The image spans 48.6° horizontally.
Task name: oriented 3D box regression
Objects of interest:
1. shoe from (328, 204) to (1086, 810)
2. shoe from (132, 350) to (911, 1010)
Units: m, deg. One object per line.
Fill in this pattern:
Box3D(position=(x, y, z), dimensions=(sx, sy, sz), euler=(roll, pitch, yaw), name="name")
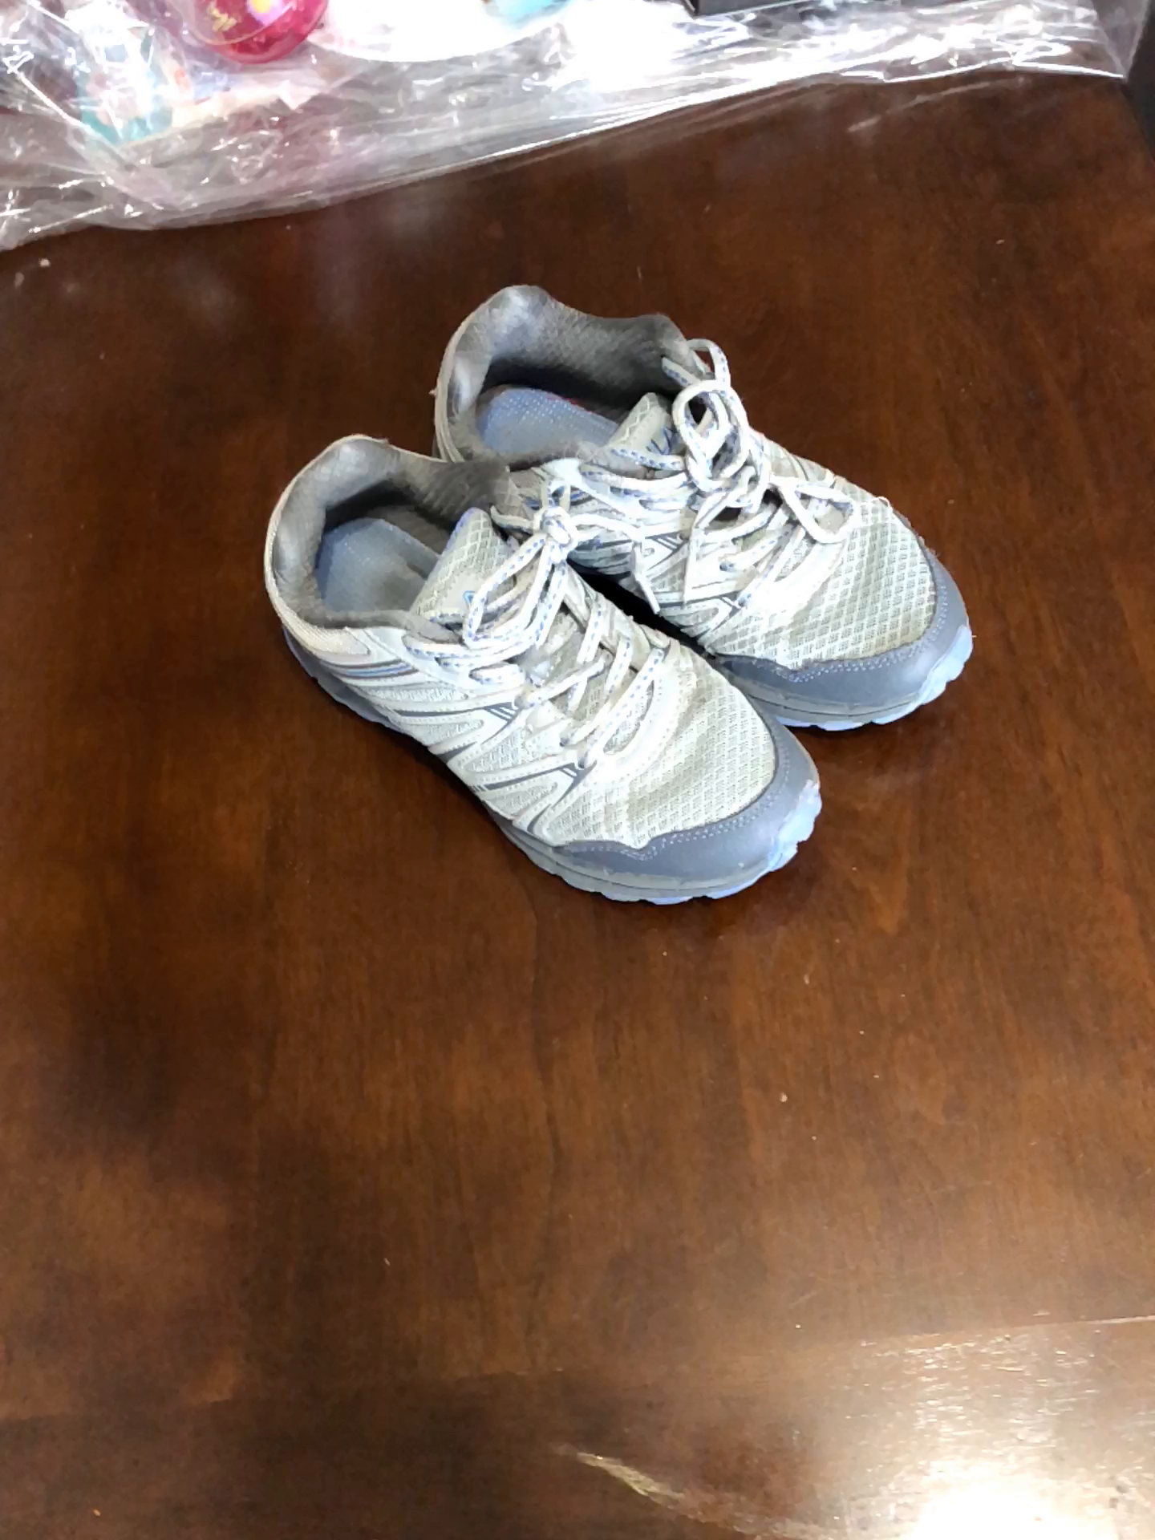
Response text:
Box3D(position=(0.045, -0.111, 0.512), dimensions=(0.260, 0.100, 0.110), euler=(31, 71, 23), name="shoe")
Box3D(position=(-0.021, -0.039, 0.472), dimensions=(0.250, 0.100, 0.110), euler=(31, 71, 23), name="shoe")
